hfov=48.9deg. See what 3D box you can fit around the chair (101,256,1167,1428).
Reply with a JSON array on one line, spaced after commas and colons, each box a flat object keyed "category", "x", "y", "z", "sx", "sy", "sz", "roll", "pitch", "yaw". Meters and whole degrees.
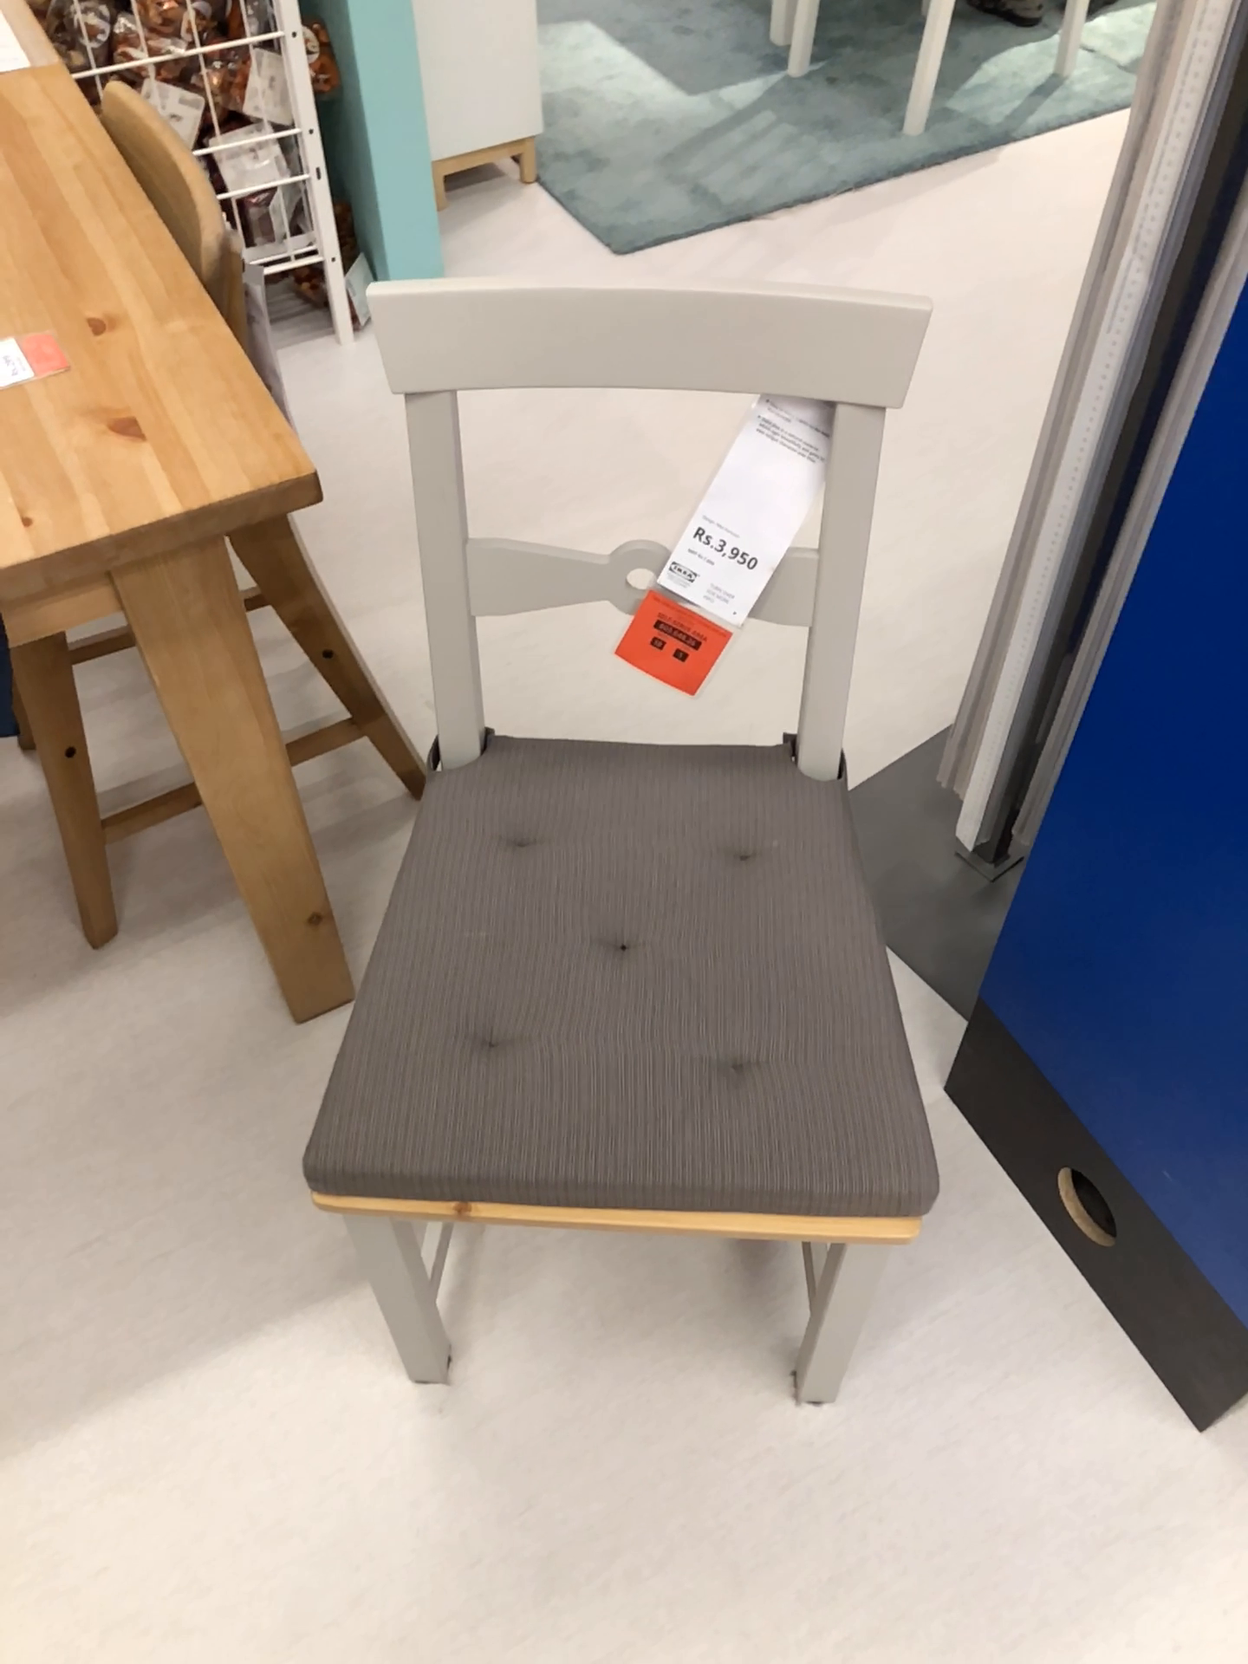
[{"category": "chair", "x": 0.013, "y": 0.070, "z": 1.000, "sx": 0.430, "sy": 0.766, "sz": 0.473, "roll": 2, "pitch": 52, "yaw": 2}]
